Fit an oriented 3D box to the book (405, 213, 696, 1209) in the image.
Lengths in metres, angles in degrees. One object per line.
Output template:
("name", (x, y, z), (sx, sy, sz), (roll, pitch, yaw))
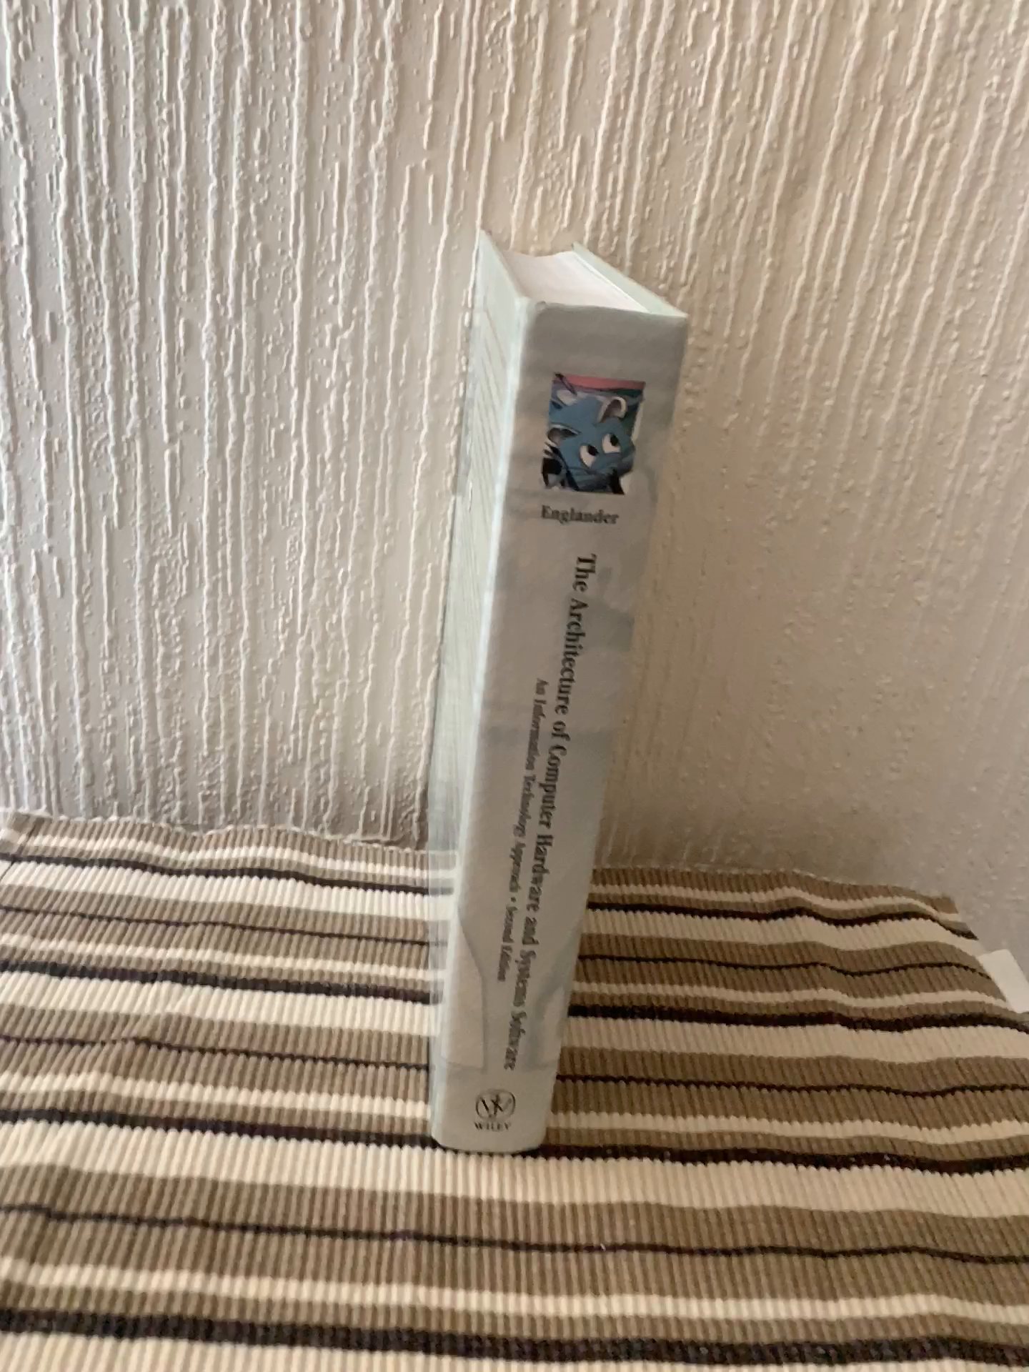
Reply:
("book", (-0.005, -0.008, 0.354), (0.040, 0.258, 0.212), (4, 27, -6))
